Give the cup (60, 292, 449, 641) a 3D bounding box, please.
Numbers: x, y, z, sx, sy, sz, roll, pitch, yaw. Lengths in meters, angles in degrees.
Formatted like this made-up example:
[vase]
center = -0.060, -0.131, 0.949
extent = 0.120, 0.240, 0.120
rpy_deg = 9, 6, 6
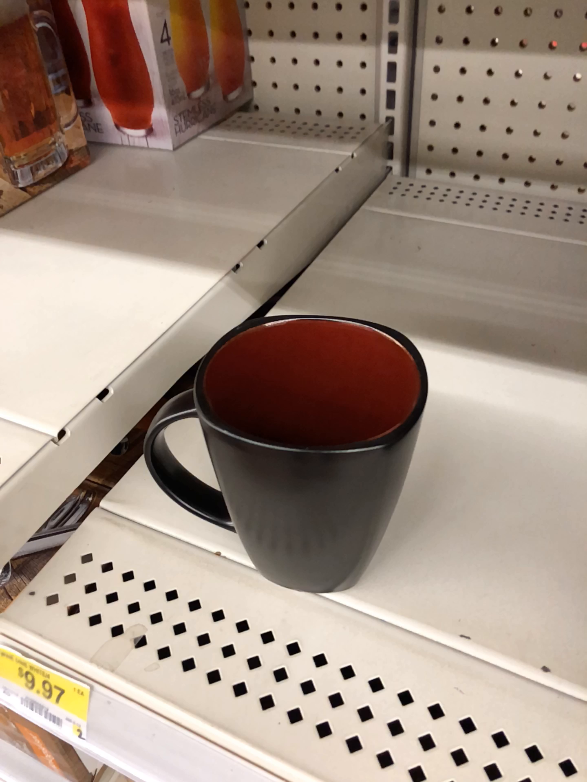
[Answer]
[cup]
center = -0.006, 0.029, 0.282
extent = 0.130, 0.100, 0.090
rpy_deg = 6, 40, 12
